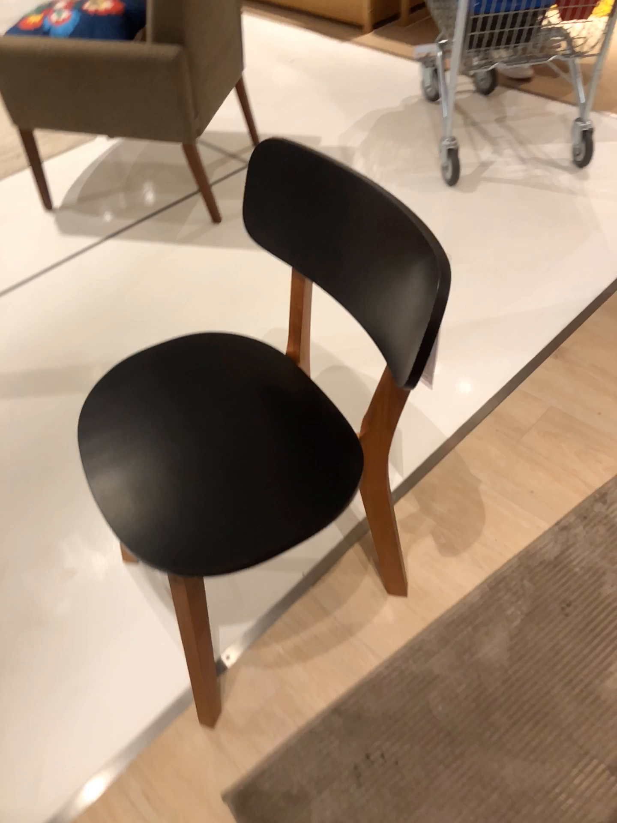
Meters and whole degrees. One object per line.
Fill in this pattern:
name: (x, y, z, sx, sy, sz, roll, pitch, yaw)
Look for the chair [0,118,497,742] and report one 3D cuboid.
chair: (-0.106, 0.046, 1.041, 0.481, 0.706, 0.462, -26, 51, -20)
